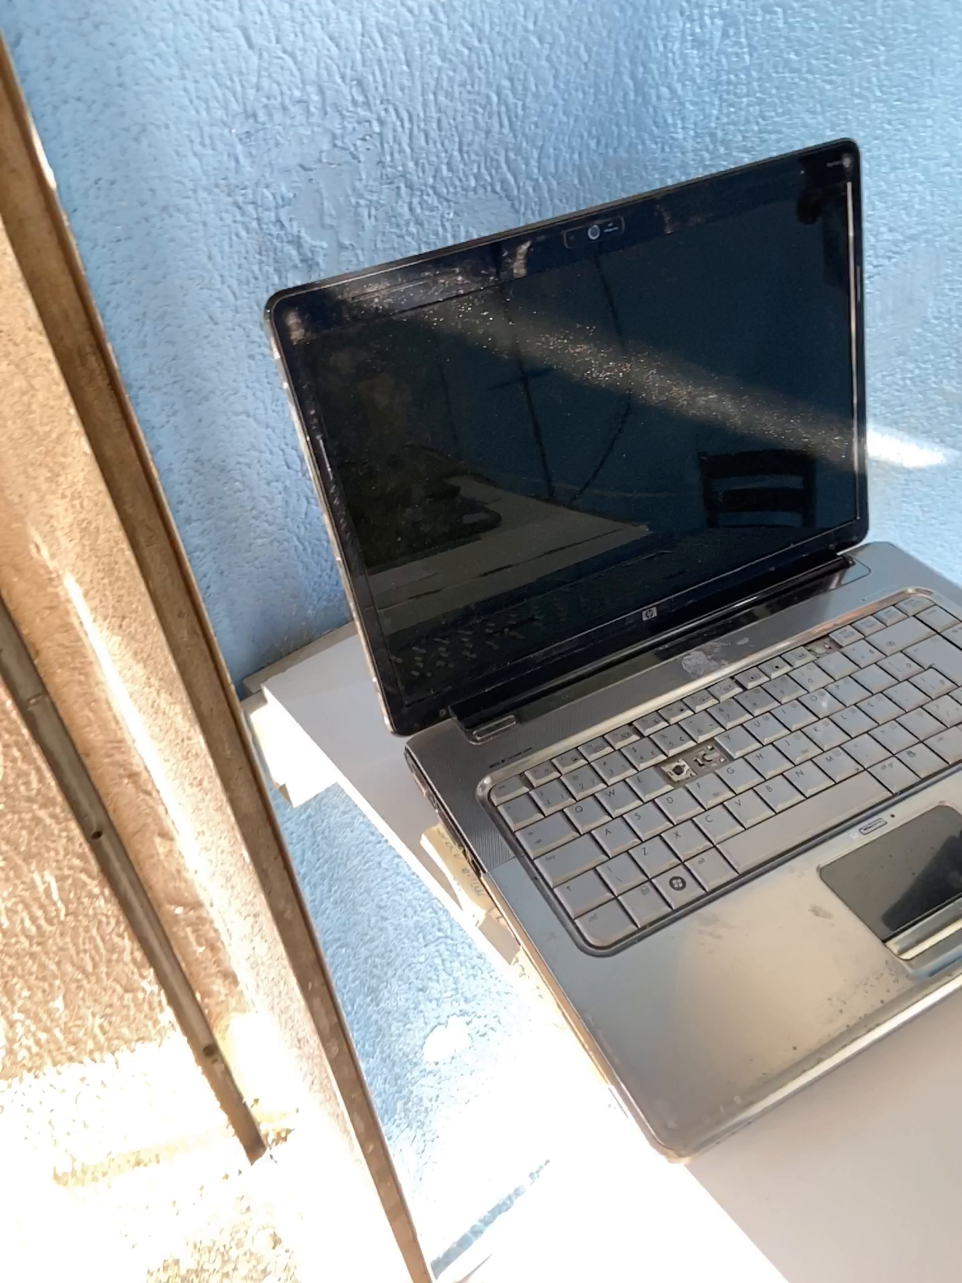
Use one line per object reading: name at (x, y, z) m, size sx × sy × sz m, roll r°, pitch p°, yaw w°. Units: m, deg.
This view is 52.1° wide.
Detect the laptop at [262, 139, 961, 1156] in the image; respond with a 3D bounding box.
laptop at (0.140, -0.049, 0.470) m, size 0.352 × 0.233 × 0.329 m, roll -22°, pitch 41°, yaw -18°
